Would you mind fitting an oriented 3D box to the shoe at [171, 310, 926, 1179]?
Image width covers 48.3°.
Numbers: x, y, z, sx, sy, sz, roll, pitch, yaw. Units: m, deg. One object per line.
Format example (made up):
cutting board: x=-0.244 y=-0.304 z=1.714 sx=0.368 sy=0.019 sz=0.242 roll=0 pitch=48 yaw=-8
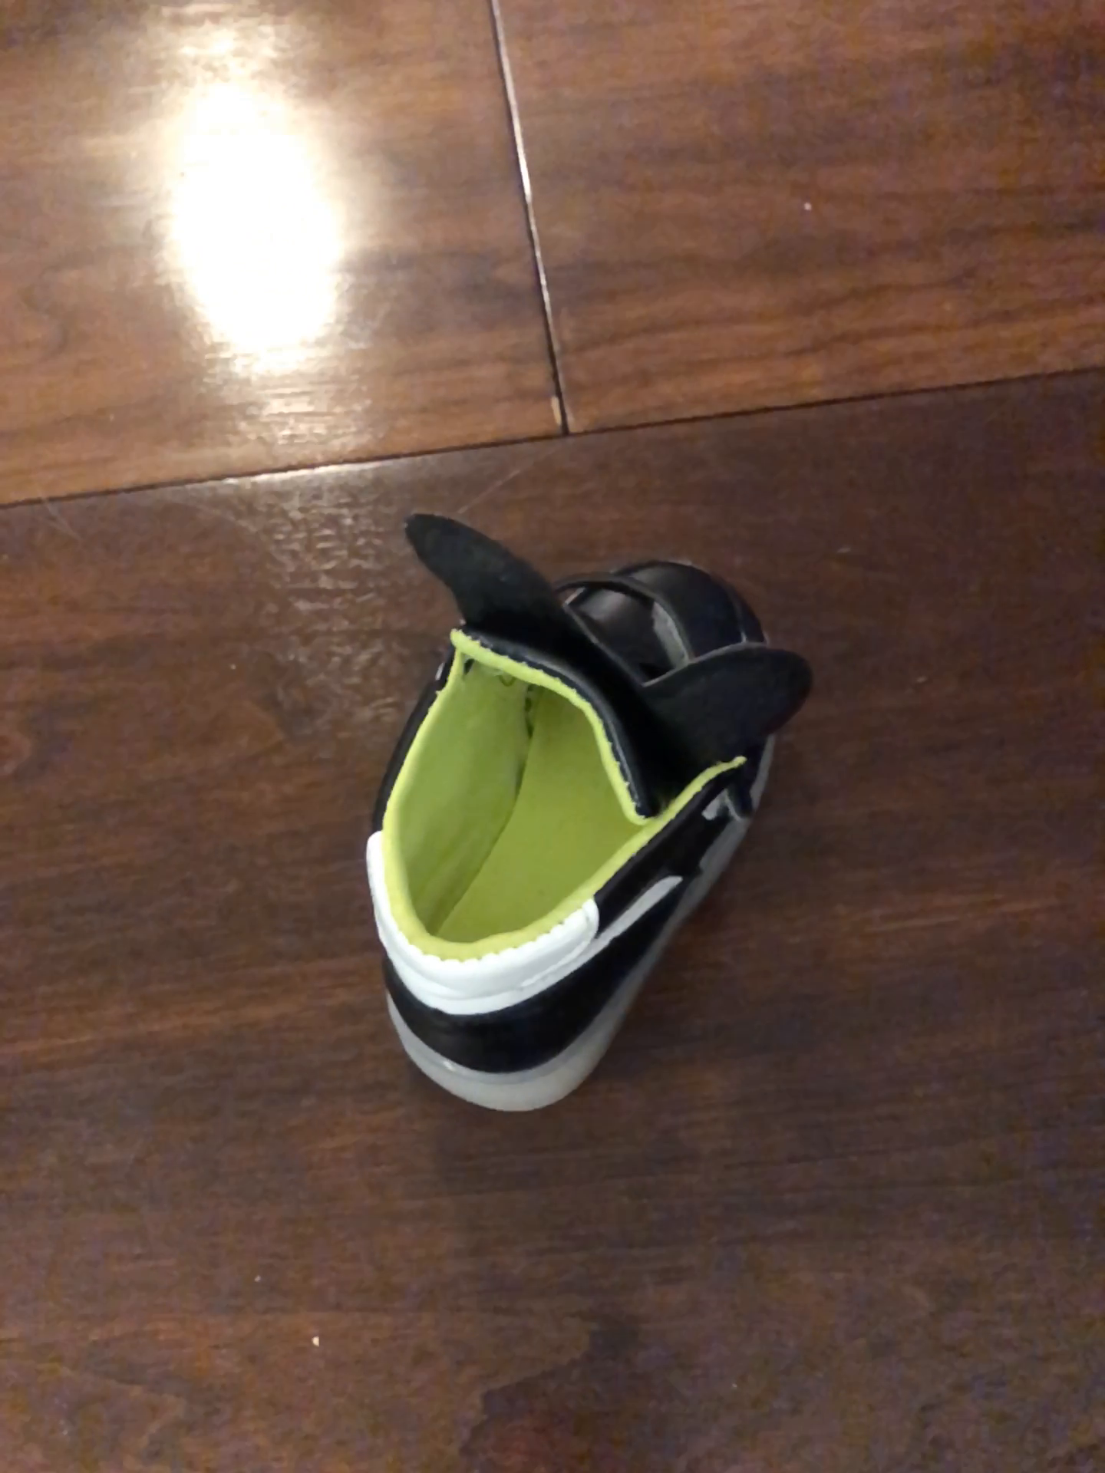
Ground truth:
shoe: x=0.007 y=0.002 z=0.285 sx=0.090 sy=0.100 sz=0.150 roll=23 pitch=64 yaw=15
